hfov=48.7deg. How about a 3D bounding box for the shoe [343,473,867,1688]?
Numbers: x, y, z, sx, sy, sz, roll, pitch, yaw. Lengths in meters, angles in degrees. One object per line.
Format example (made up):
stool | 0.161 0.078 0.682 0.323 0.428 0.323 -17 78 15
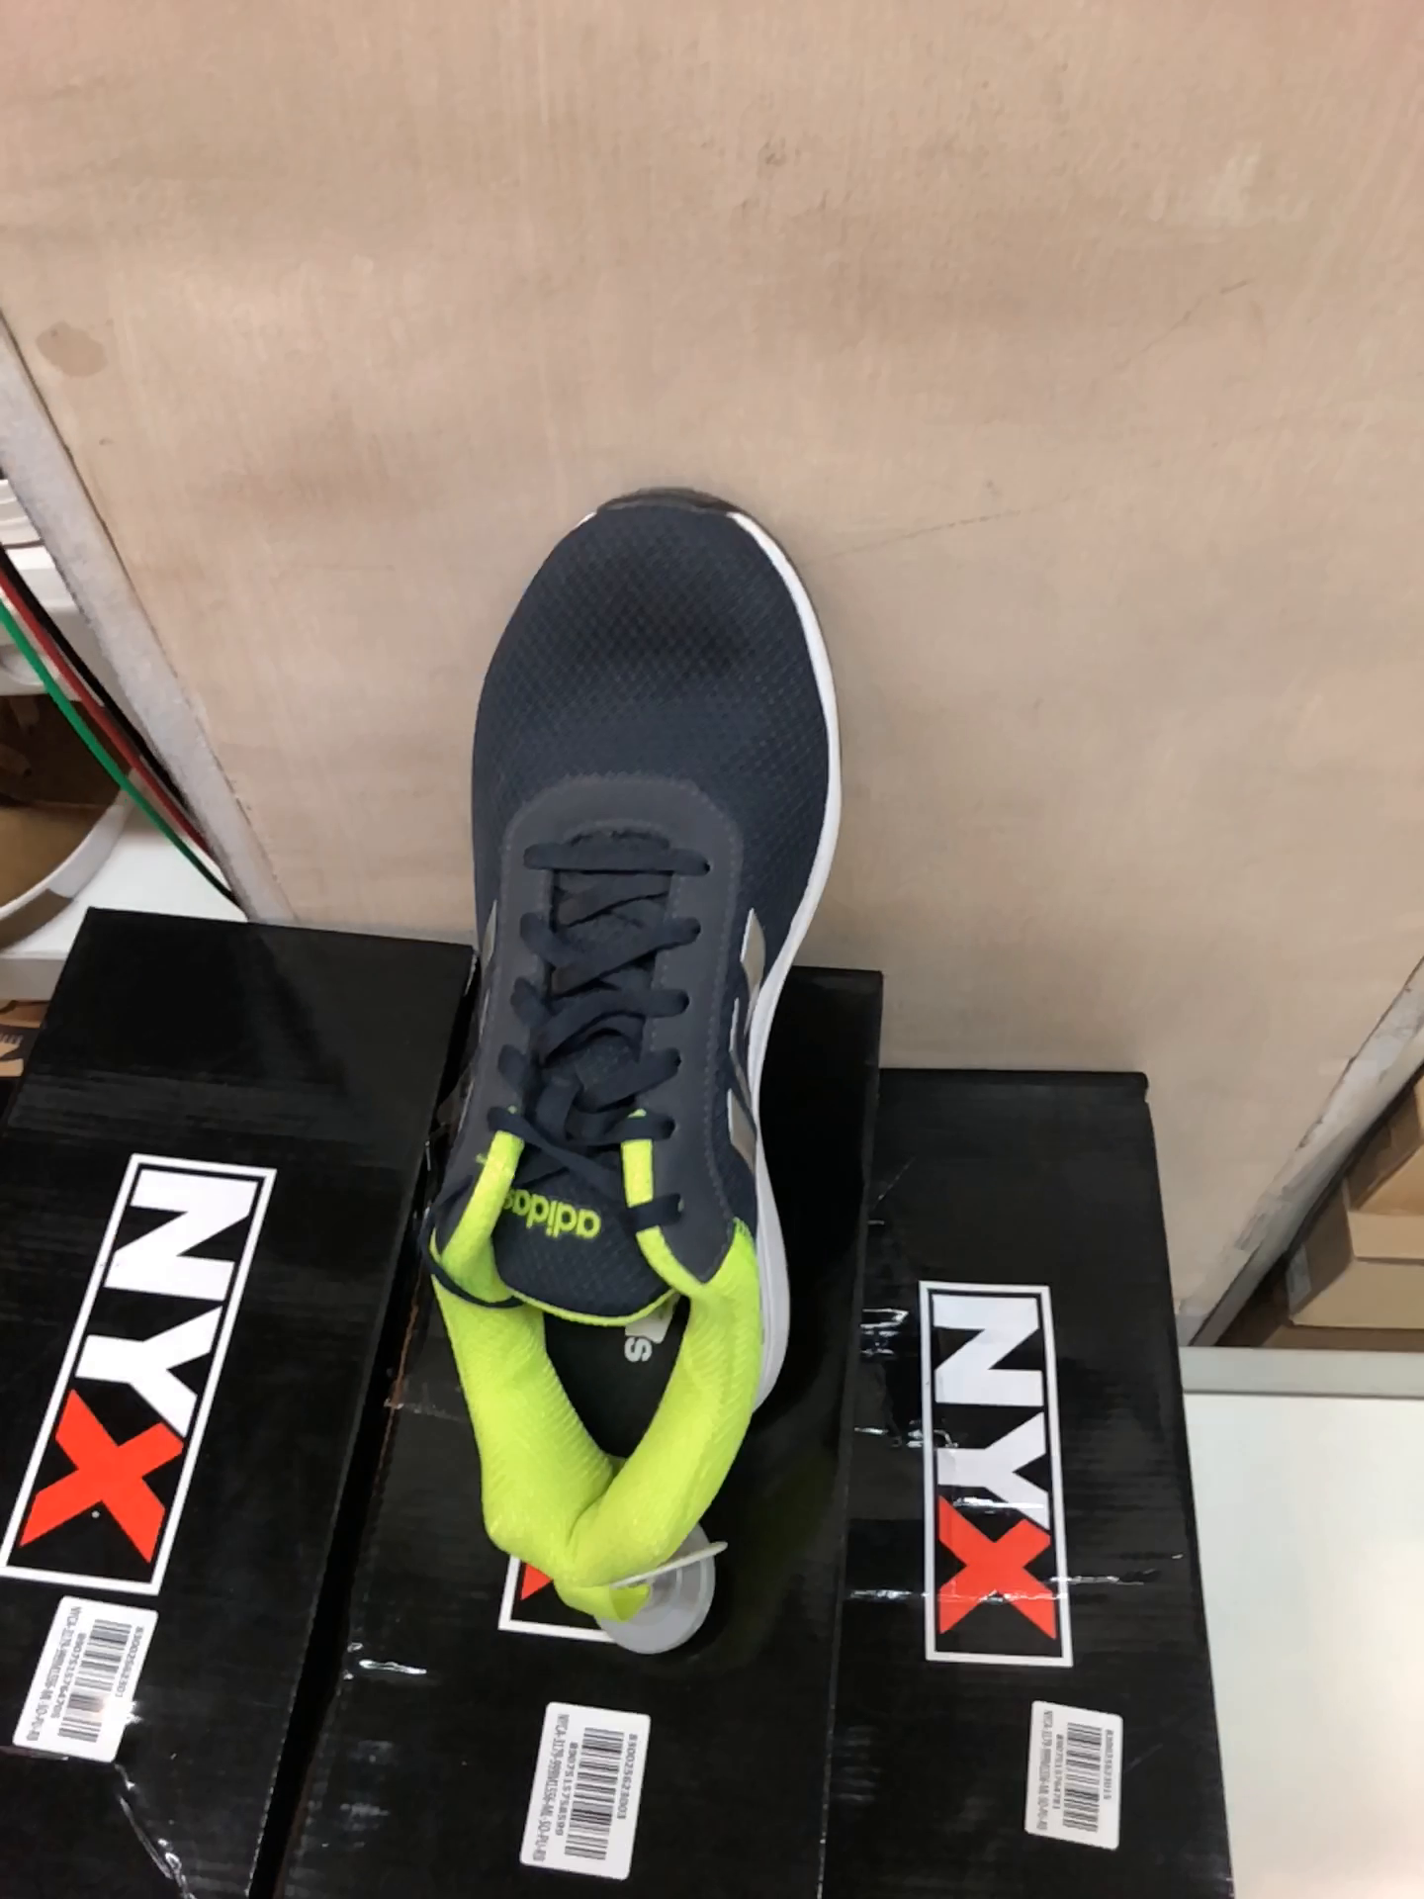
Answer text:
shoe | -0.023 0.027 0.406 0.104 0.098 0.272 3 94 10
